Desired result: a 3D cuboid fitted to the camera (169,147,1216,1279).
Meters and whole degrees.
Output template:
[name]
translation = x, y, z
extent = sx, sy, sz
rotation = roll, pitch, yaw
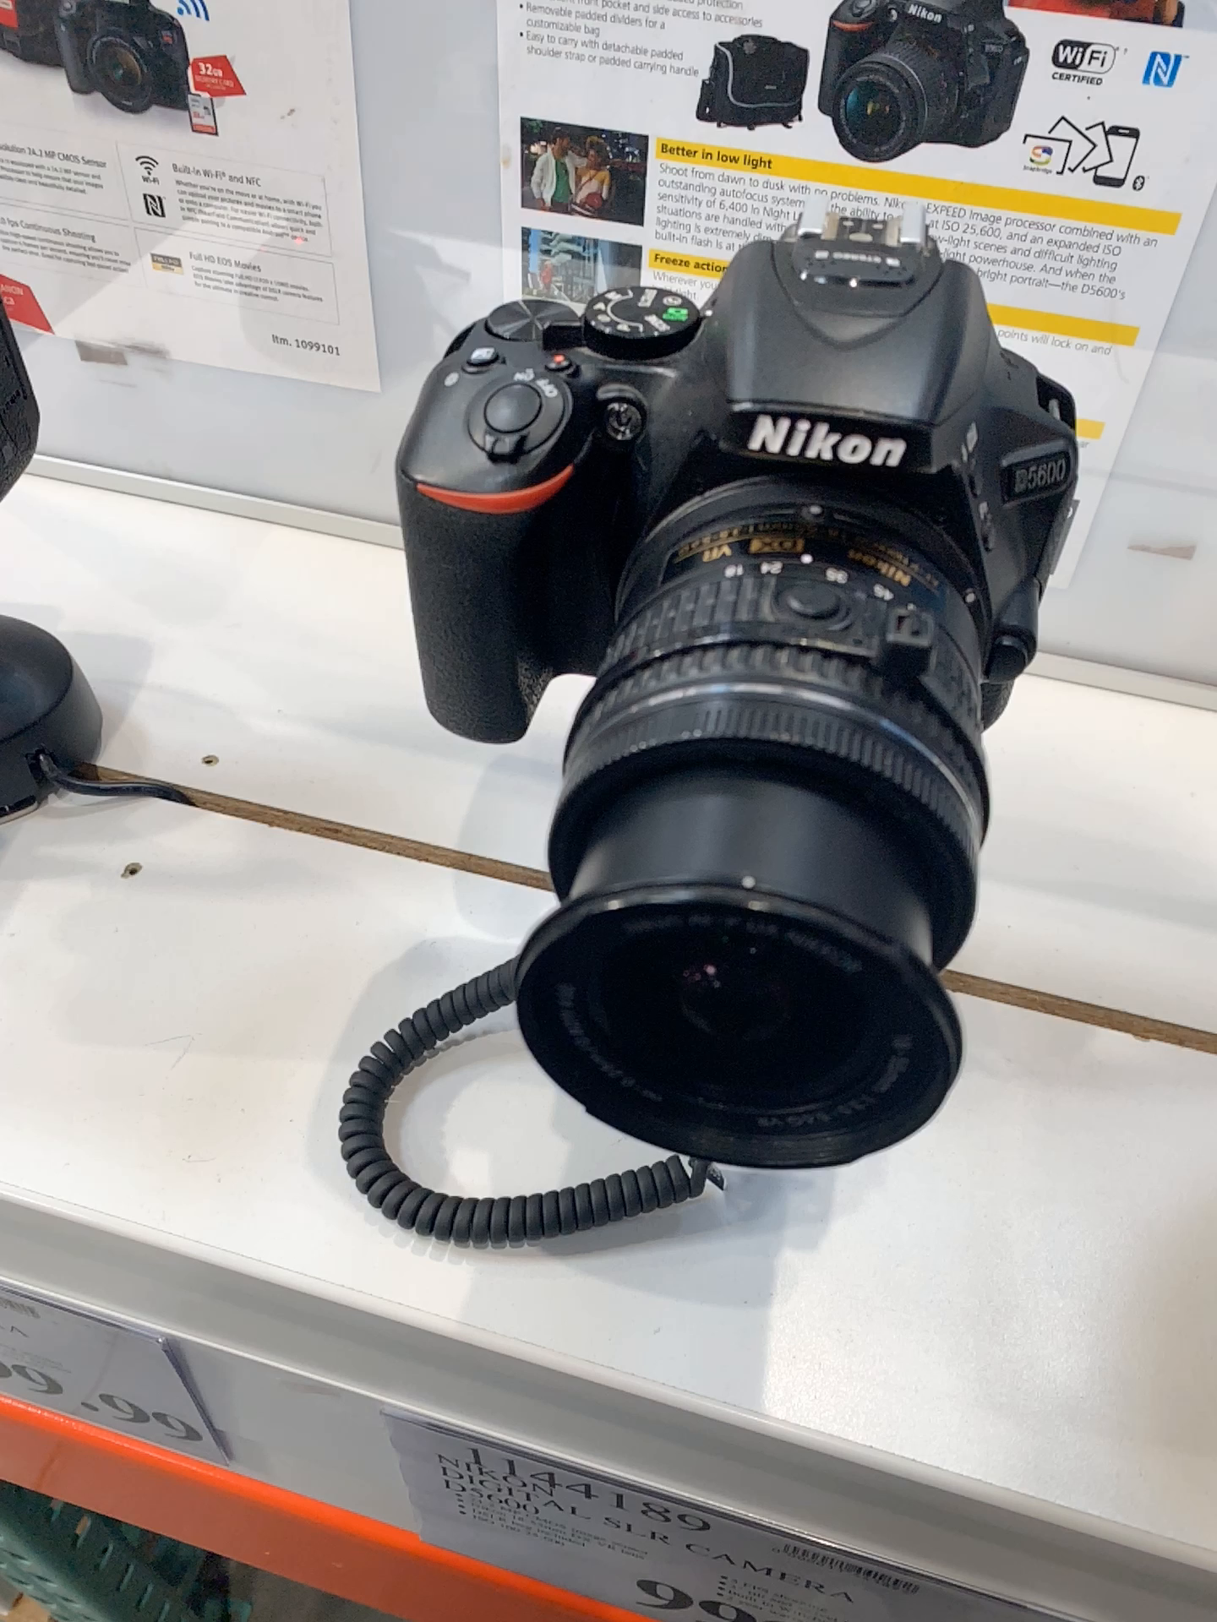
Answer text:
[camera]
translation = 0.025, -0.026, 0.196
extent = 0.111, 0.090, 0.141
rotation = 11, 46, 8
